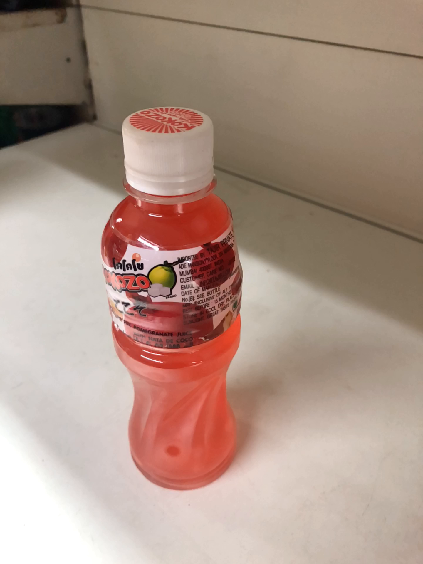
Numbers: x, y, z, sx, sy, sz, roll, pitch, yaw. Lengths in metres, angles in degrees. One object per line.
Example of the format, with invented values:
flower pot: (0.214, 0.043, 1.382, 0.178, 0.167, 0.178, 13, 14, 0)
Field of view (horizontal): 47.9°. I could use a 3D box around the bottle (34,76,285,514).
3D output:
bottle: (-0.017, 0.013, 0.197, 0.060, 0.169, 0.050, 20, 39, 25)
